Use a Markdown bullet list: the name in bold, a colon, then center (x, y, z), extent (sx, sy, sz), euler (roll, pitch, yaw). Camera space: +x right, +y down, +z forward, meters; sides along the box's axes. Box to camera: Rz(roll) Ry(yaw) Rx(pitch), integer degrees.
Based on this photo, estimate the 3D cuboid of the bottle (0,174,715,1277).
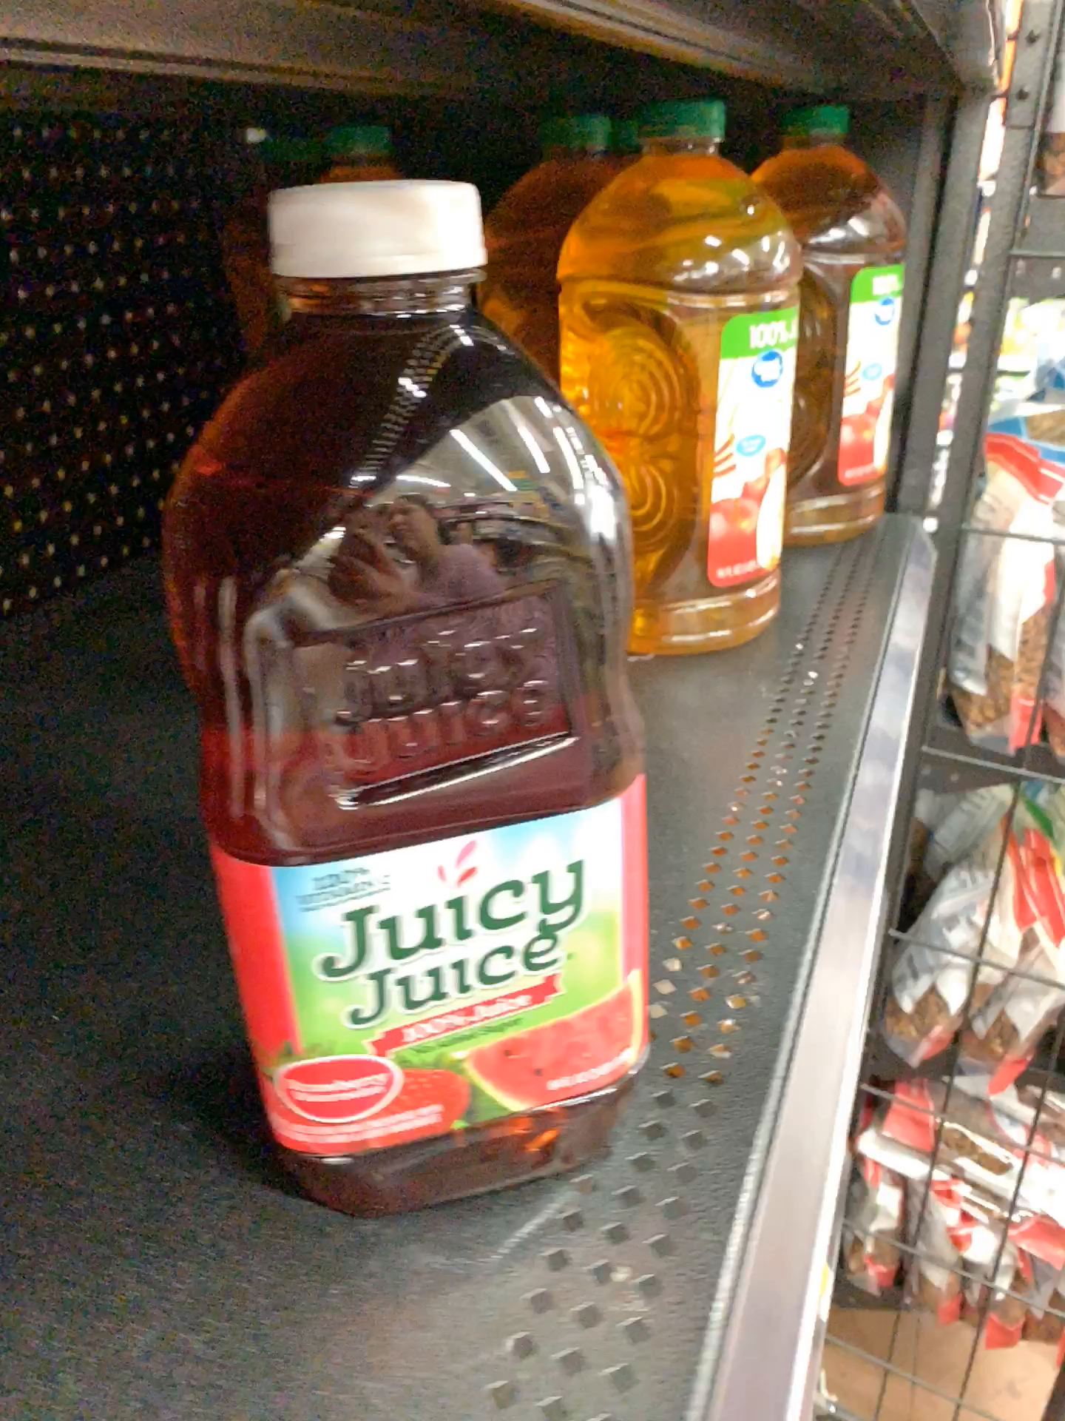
- **bottle**: center (-0.037, 0.004, 0.286), extent (0.125, 0.255, 0.090), euler (-9, 28, -16)
